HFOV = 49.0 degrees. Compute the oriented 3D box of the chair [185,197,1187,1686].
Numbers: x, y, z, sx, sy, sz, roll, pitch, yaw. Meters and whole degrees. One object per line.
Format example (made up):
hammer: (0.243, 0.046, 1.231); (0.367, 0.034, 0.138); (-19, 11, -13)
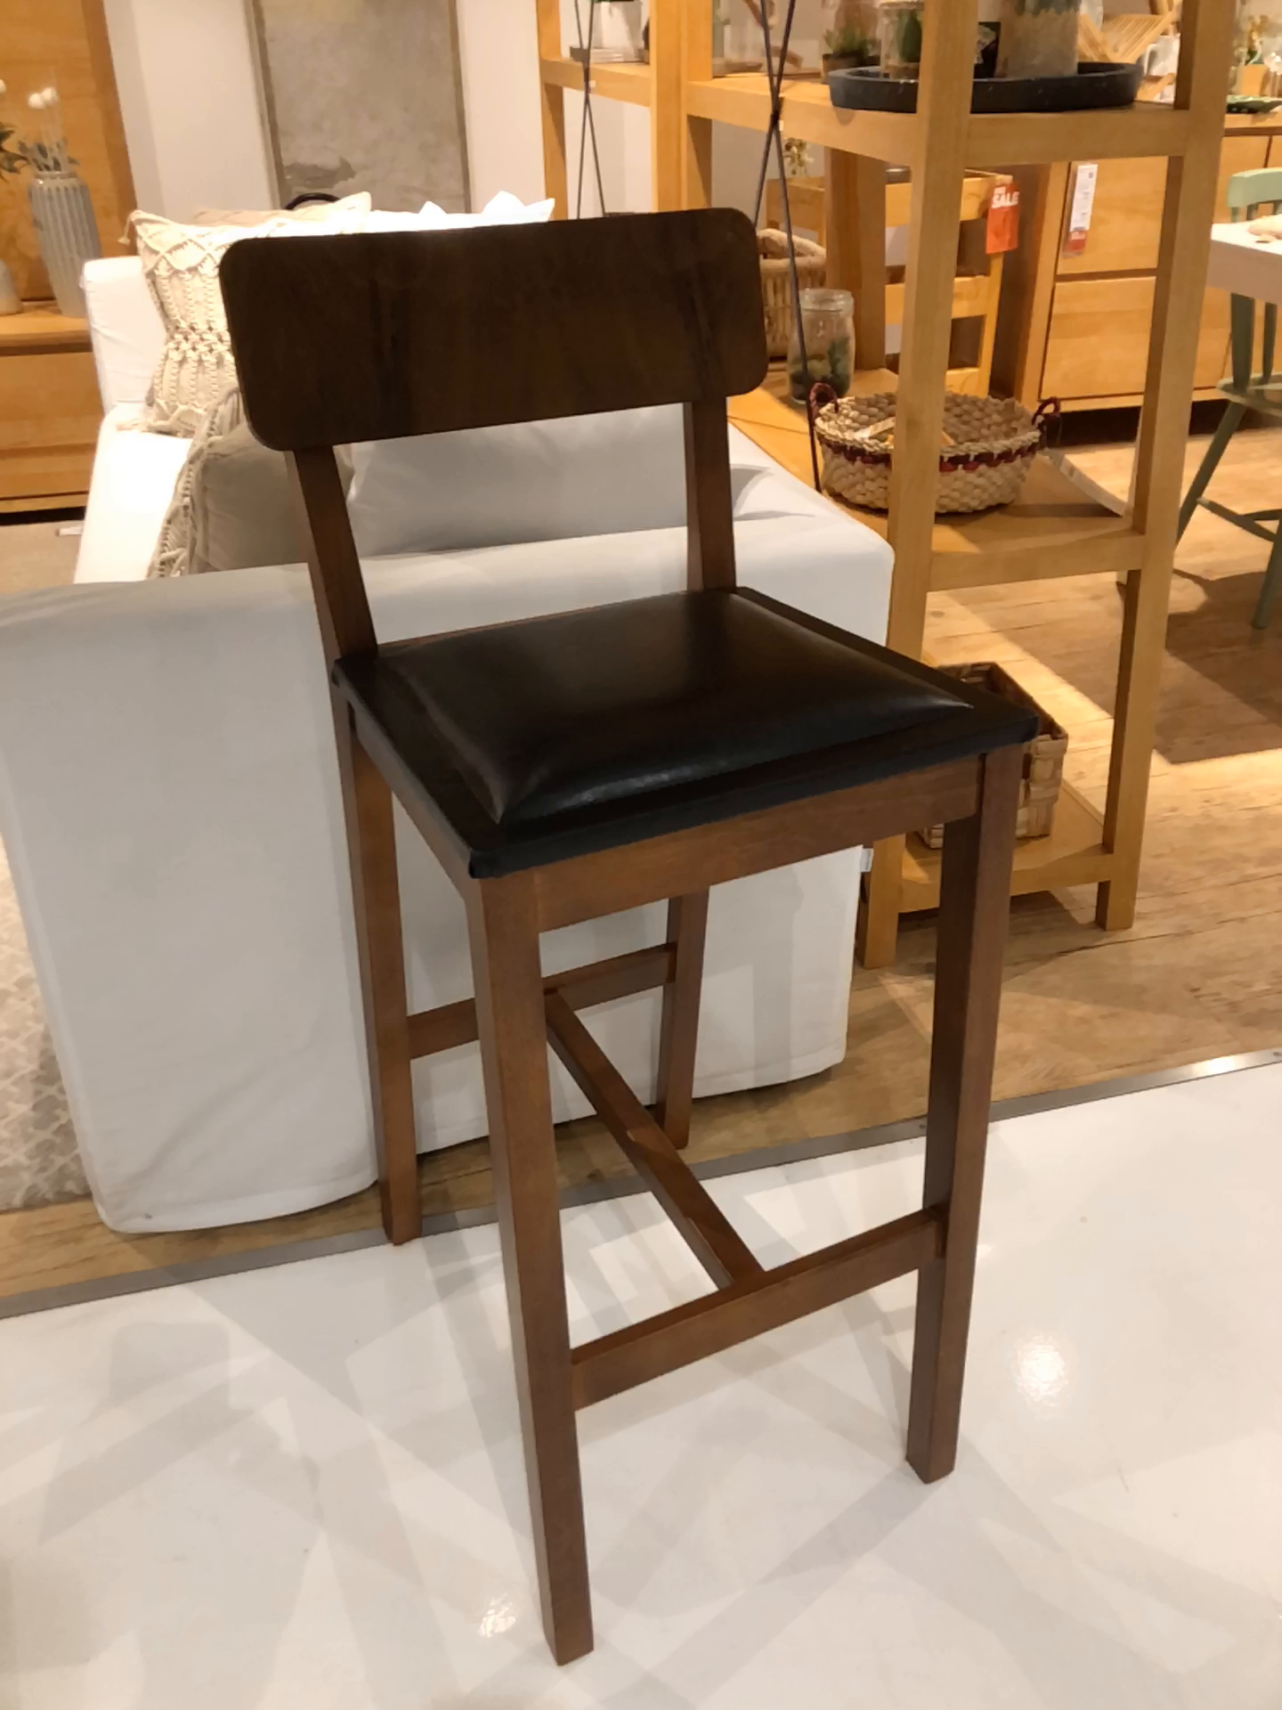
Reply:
chair: (-0.008, 0.051, 1.150); (0.441, 1.002, 0.533); (-15, 33, -22)
